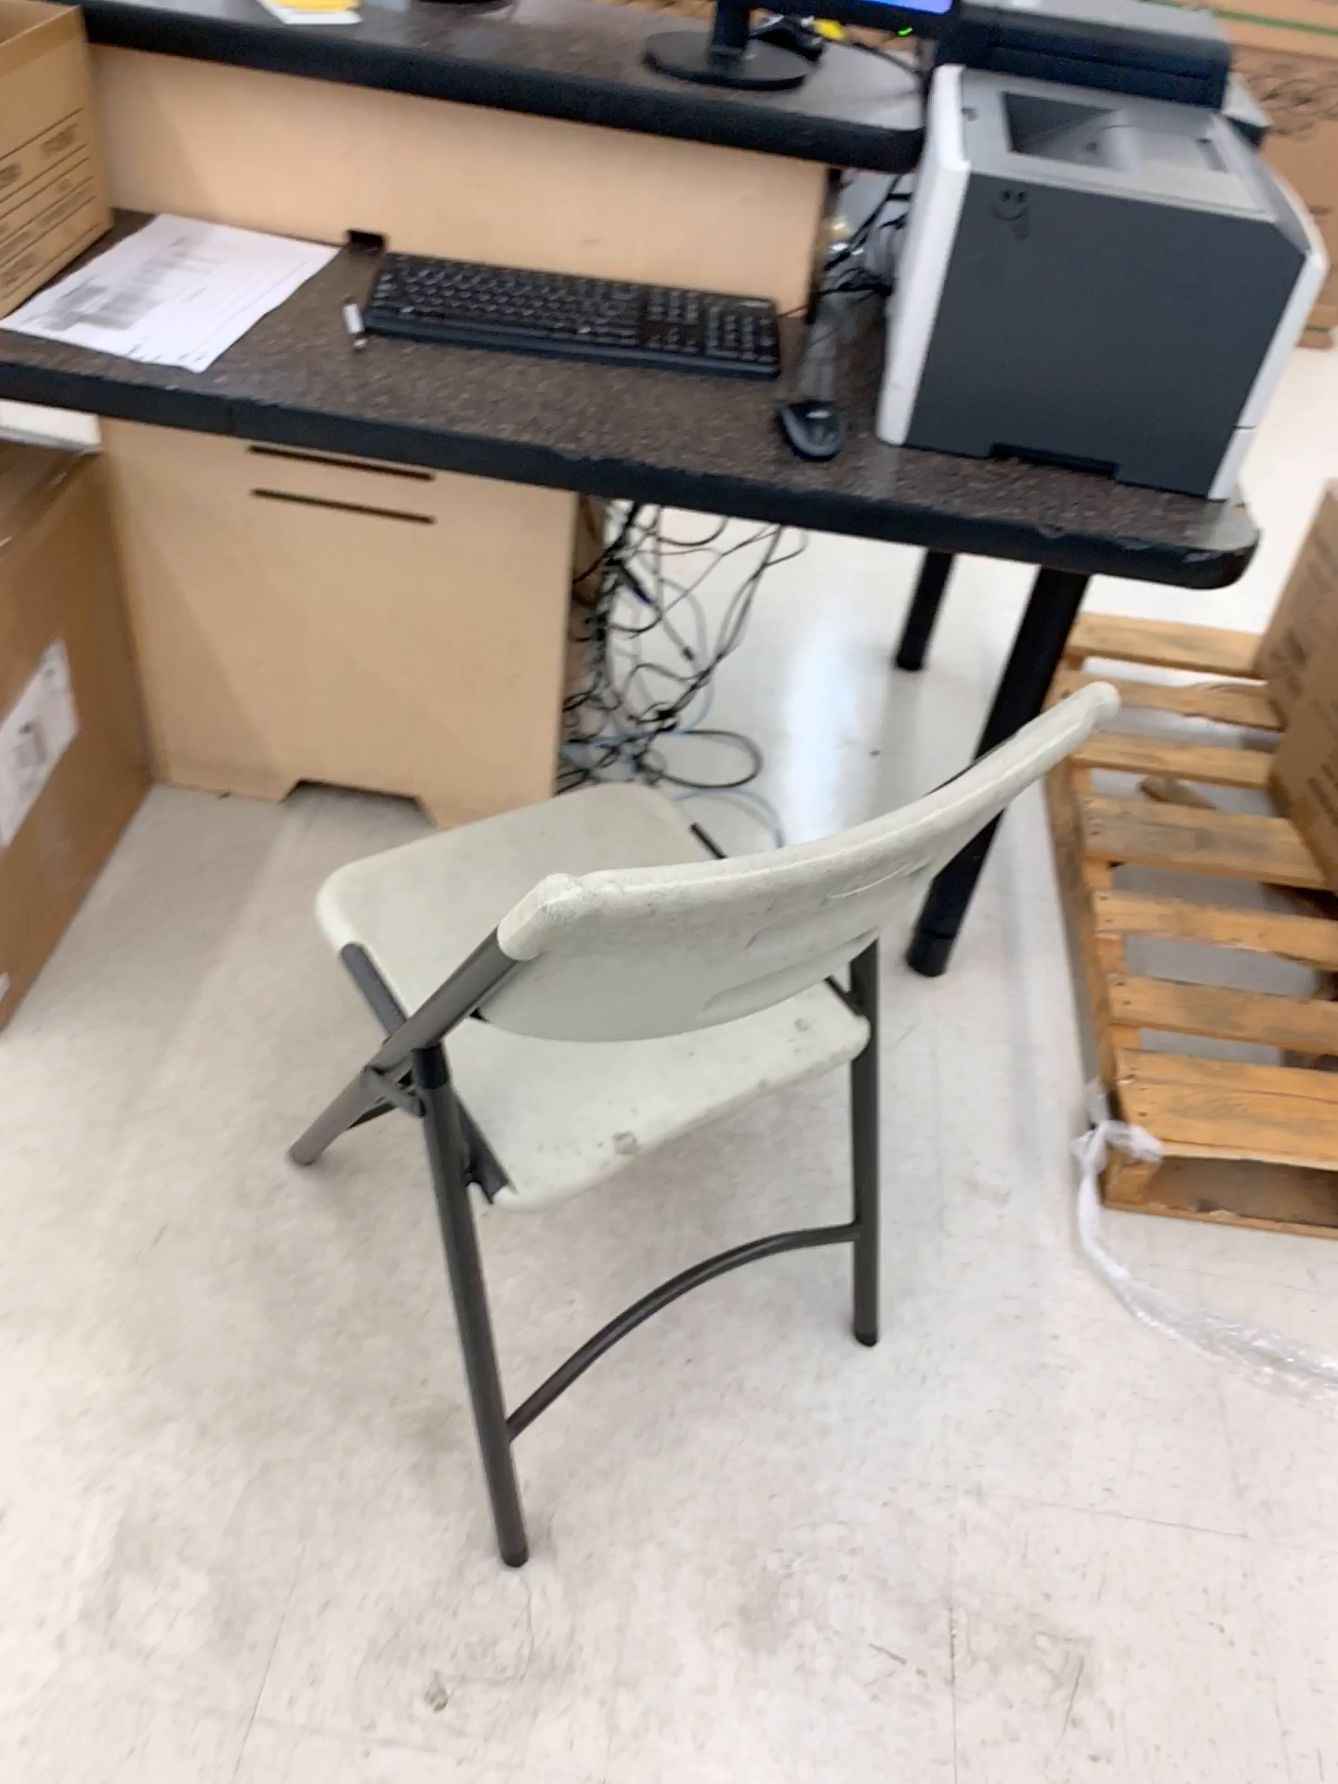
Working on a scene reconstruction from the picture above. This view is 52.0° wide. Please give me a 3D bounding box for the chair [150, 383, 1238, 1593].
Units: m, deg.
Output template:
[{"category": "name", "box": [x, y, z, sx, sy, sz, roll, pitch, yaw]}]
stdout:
[{"category": "chair", "box": [-0.039, 0.072, 1.199, 0.531, 0.746, 0.562, -21, 51, -28]}]
